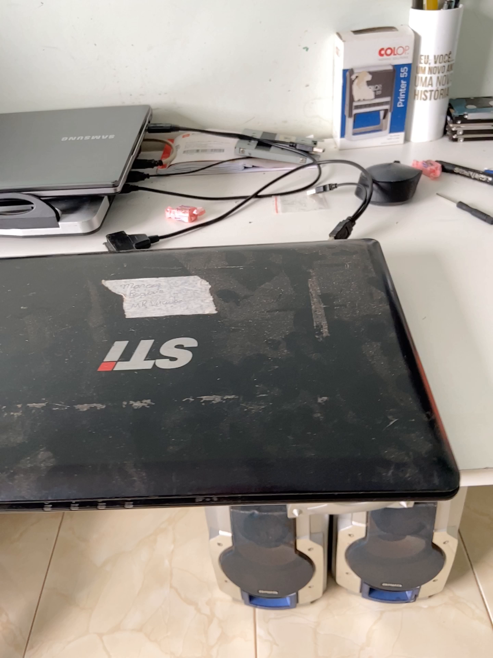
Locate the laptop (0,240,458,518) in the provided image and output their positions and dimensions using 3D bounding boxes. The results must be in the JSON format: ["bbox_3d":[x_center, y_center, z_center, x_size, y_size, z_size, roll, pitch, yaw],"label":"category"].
[{"bbox_3d":[-0.061,0.014,0.351,0.337,0.011,0.231,-2,41,3],"label":"laptop"}]

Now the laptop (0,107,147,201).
[{"bbox_3d":[-0.298,-0.209,0.584,0.343,0.006,0.229,-3,40,-1],"label":"laptop"}]
